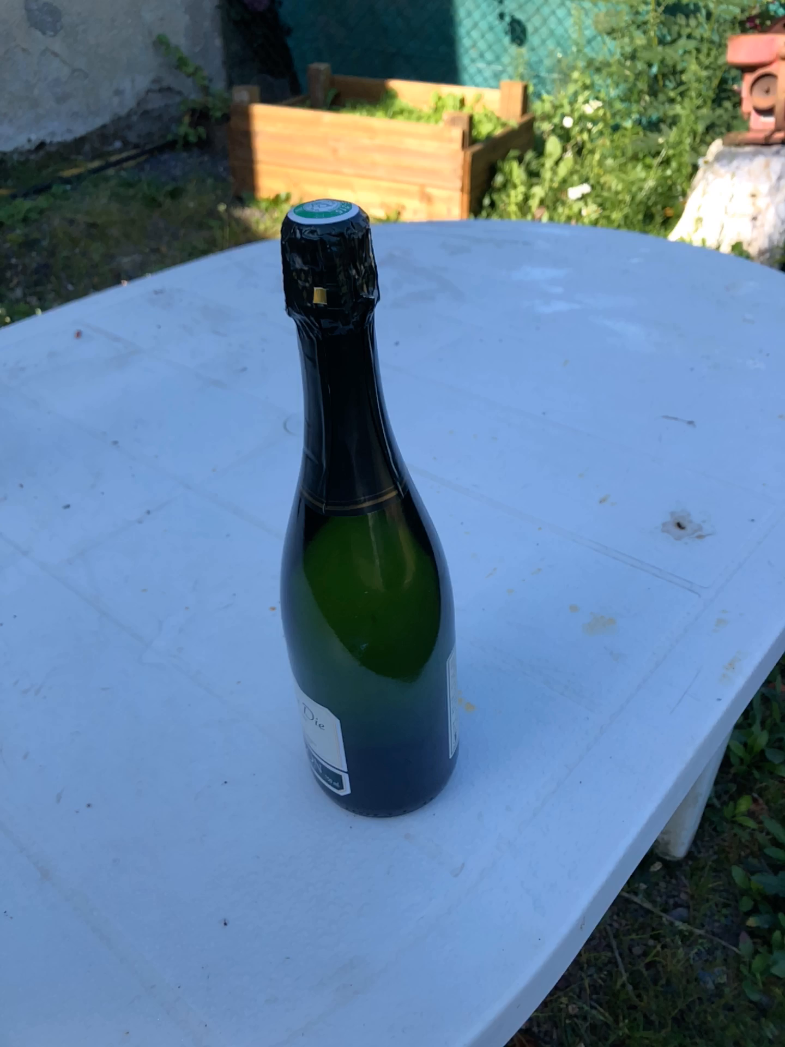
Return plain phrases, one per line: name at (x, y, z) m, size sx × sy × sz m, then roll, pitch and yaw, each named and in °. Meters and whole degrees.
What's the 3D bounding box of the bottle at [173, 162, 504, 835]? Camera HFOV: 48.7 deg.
bottle at (-0.014, 0.011, 0.394) m, size 0.100 × 0.308 × 0.091 m, roll -2°, pitch 38°, yaw -1°
